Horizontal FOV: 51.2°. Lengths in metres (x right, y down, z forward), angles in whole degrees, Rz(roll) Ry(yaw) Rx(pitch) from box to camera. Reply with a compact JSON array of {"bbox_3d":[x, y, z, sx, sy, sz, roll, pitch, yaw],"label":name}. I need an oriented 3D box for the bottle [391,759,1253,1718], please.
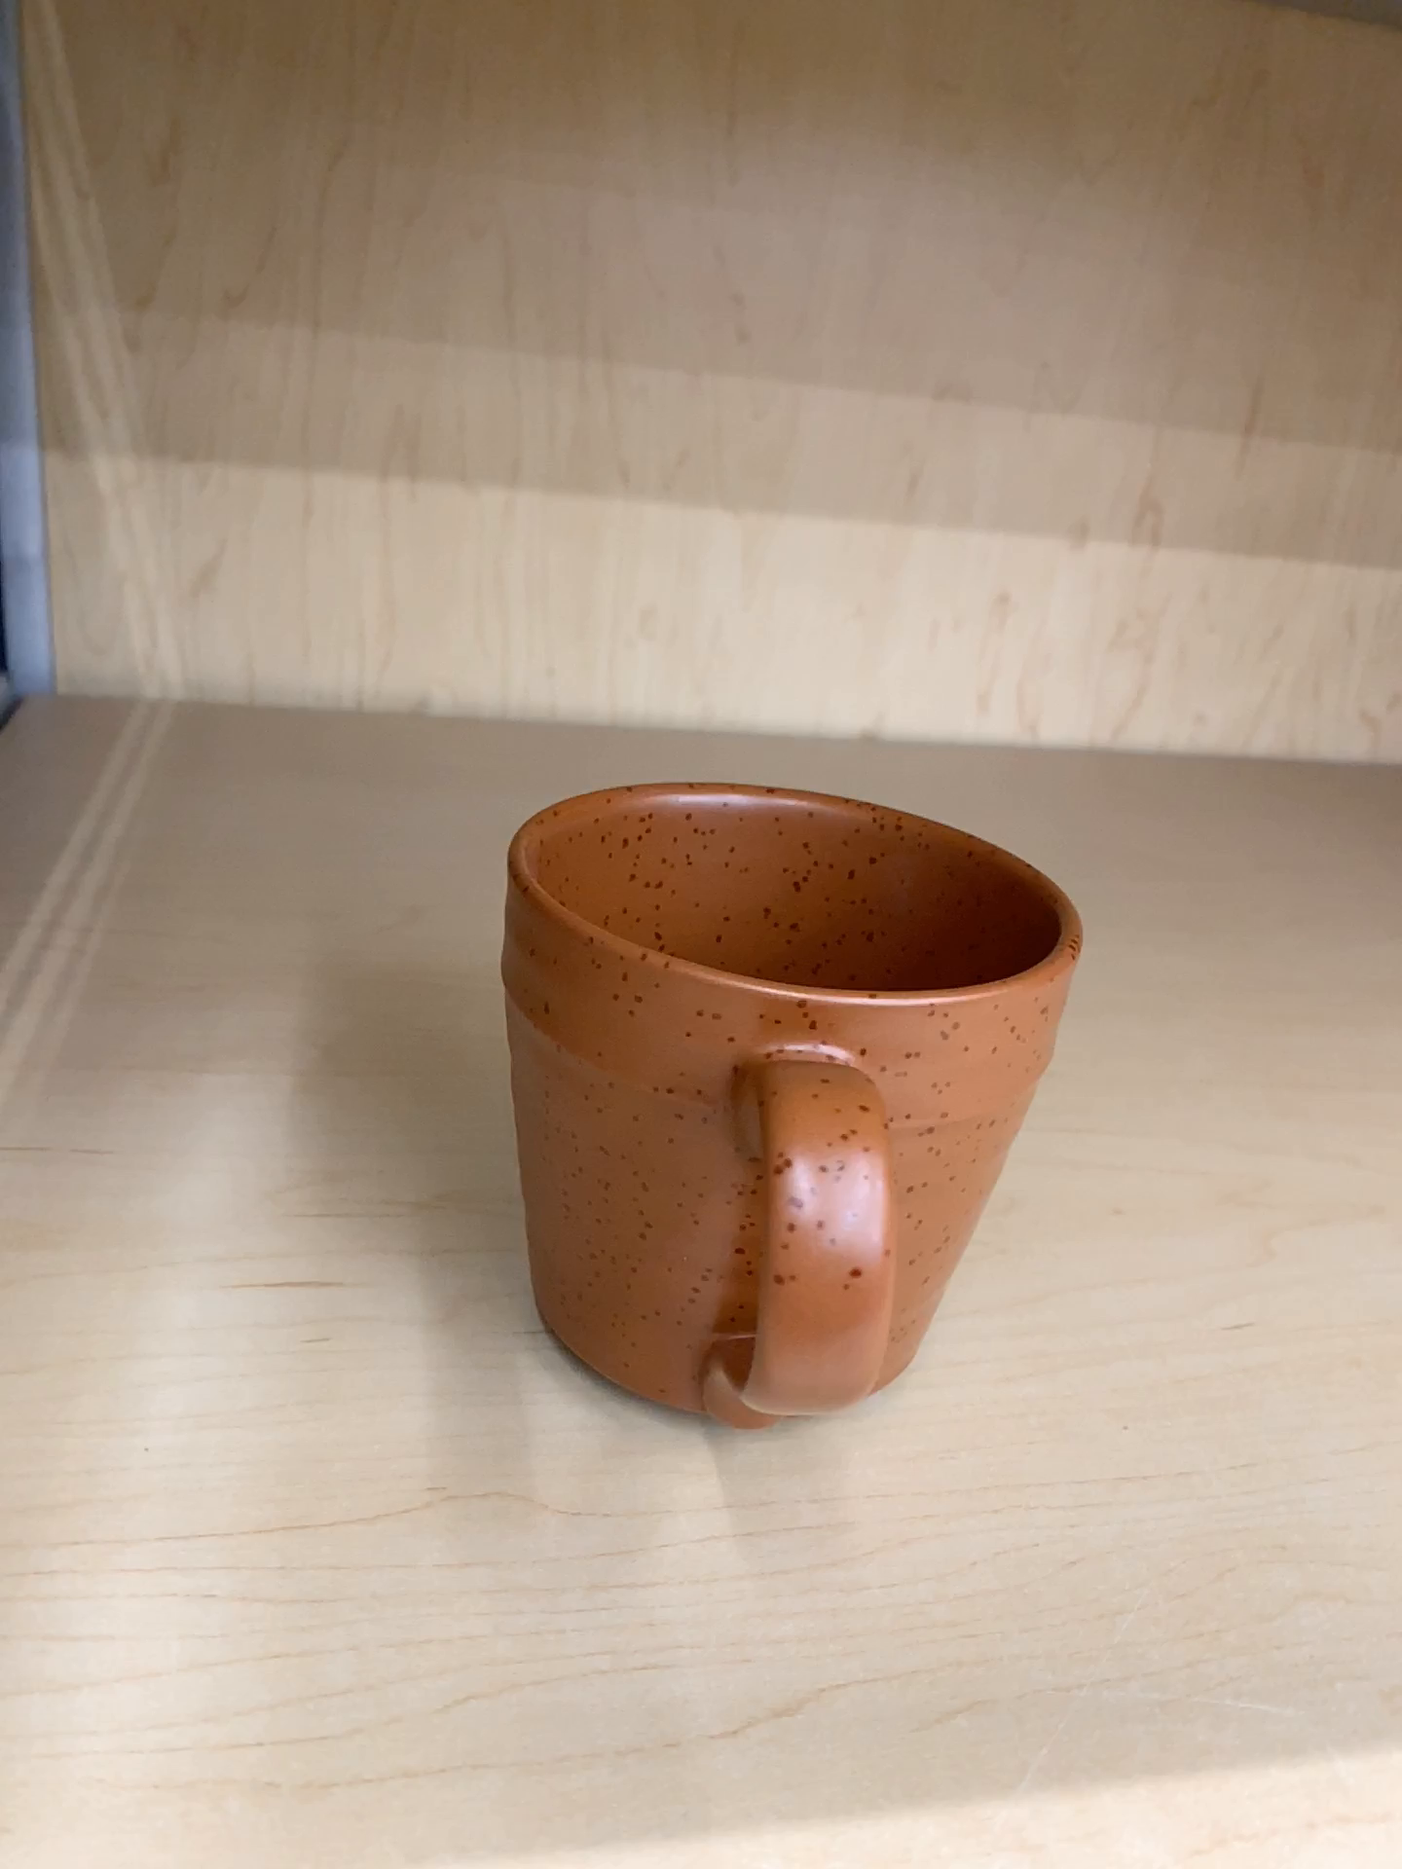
[{"bbox_3d":[0.012,0.038,0.255,0.100,0.090,0.141,6,23,-2],"label":"bottle"}]
